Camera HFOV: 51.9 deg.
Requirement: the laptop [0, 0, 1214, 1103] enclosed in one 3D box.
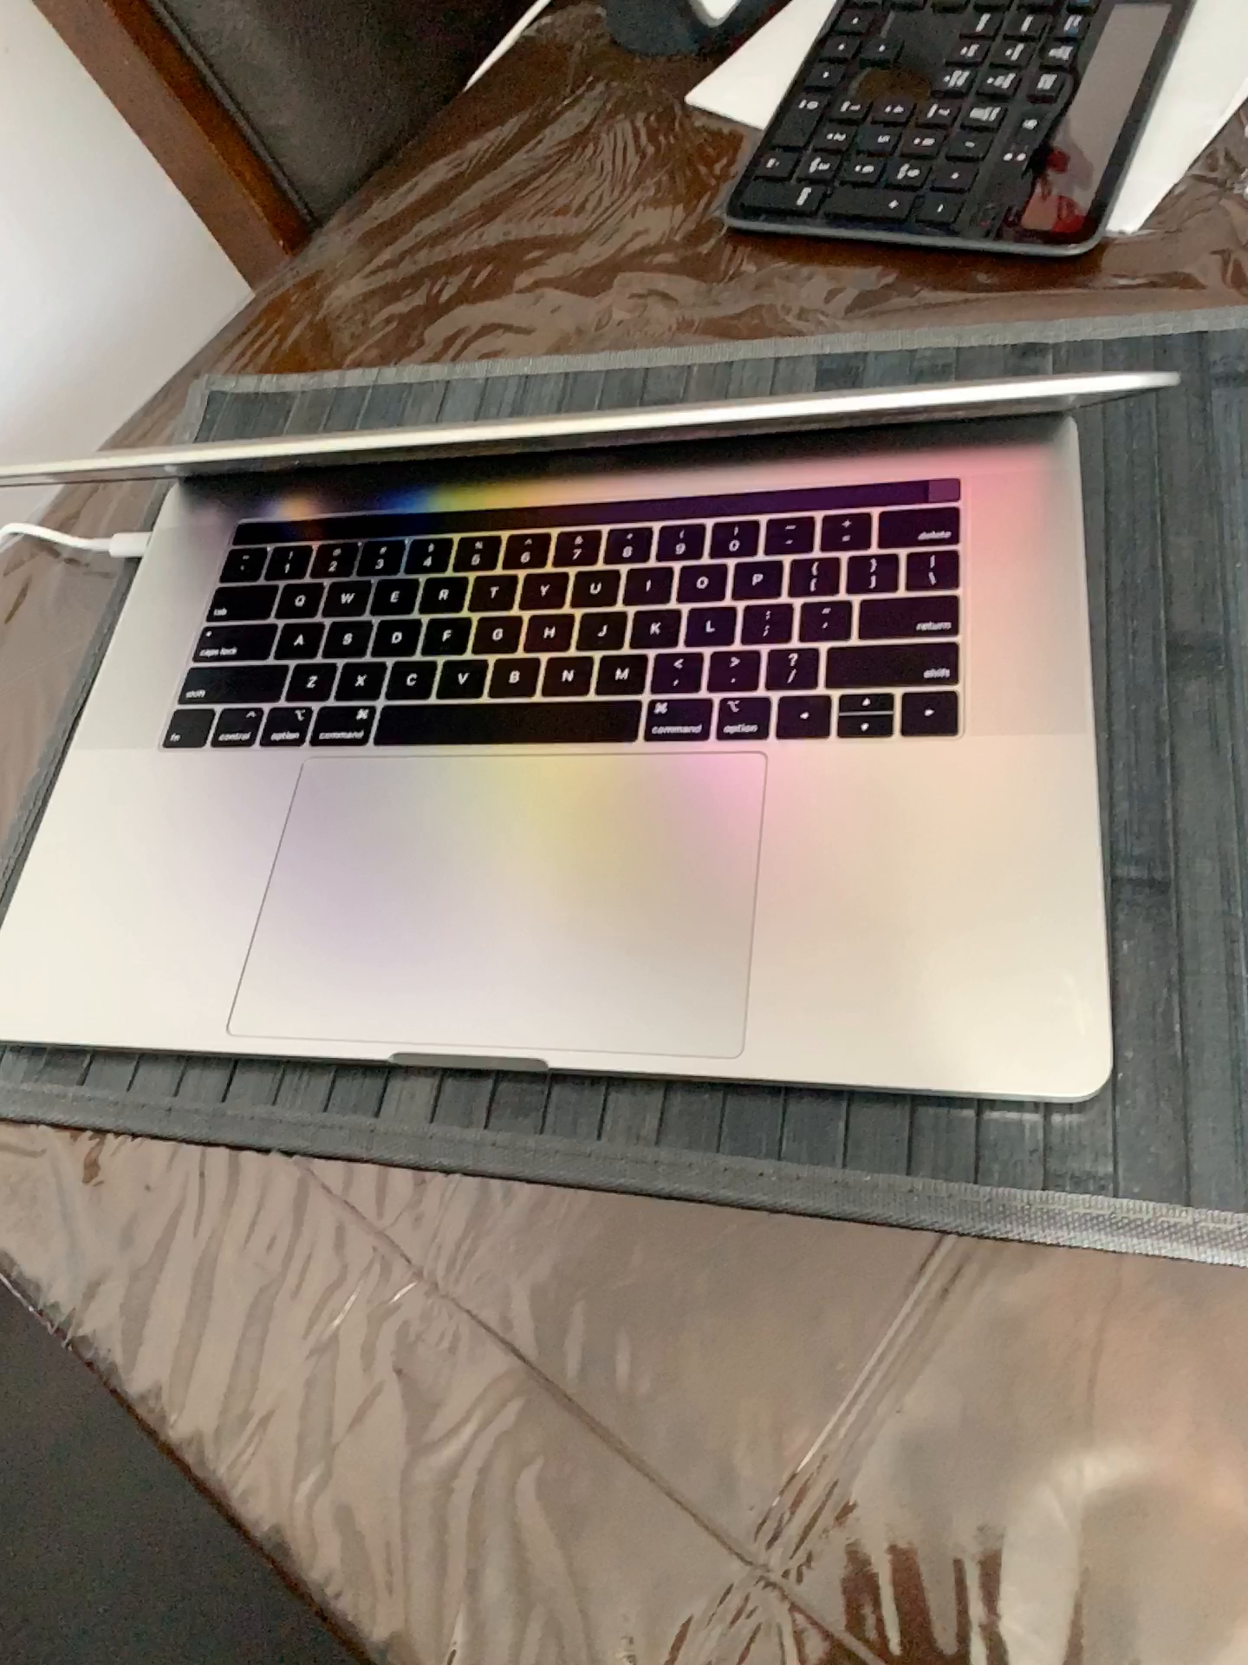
[{"bbox_3d":[-0.047,-0.077,0.350,0.342,0.166,0.233,0,62,15],"label":"laptop"}]
